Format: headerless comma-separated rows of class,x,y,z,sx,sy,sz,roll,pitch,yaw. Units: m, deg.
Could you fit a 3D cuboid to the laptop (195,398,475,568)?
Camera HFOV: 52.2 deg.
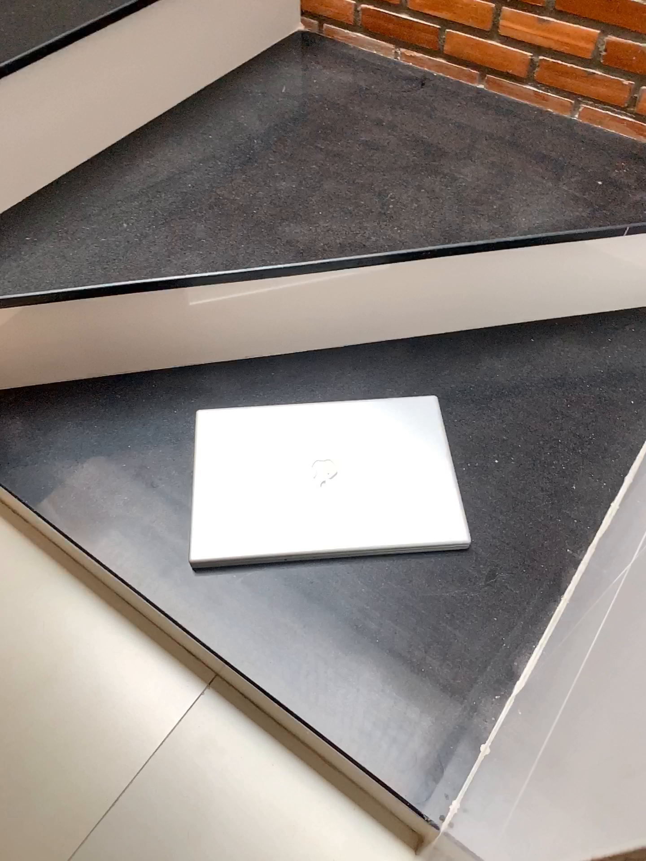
laptop,0.006,0.077,1.121,0.440,0.013,0.292,-4,56,-3
